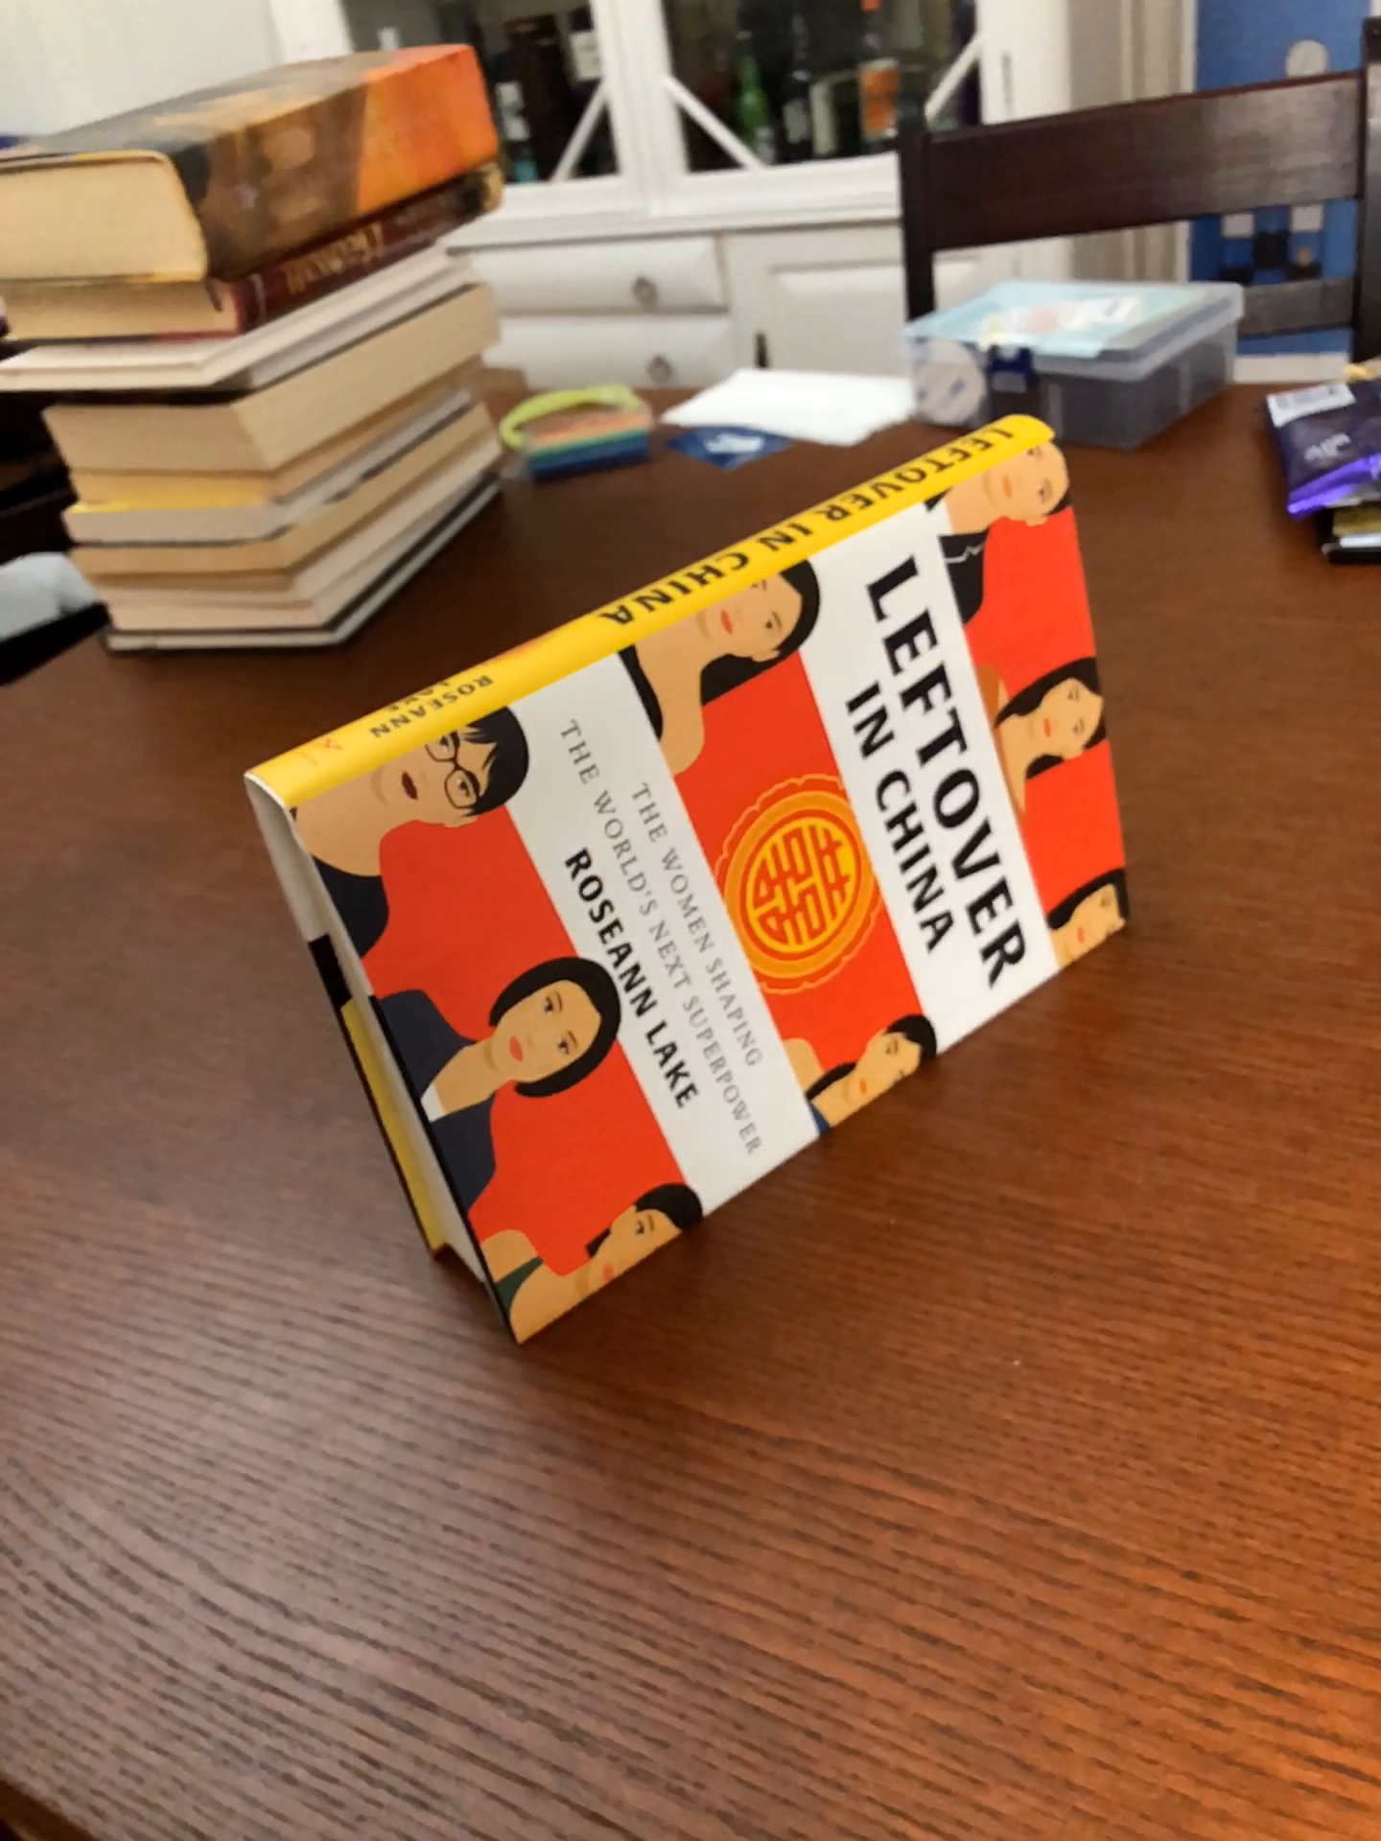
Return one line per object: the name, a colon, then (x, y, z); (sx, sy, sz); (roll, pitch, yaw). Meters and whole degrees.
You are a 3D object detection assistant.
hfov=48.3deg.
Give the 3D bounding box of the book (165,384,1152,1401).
book: (0.017, -0.016, 0.431); (0.261, 0.179, 0.060); (-30, 38, -24)
